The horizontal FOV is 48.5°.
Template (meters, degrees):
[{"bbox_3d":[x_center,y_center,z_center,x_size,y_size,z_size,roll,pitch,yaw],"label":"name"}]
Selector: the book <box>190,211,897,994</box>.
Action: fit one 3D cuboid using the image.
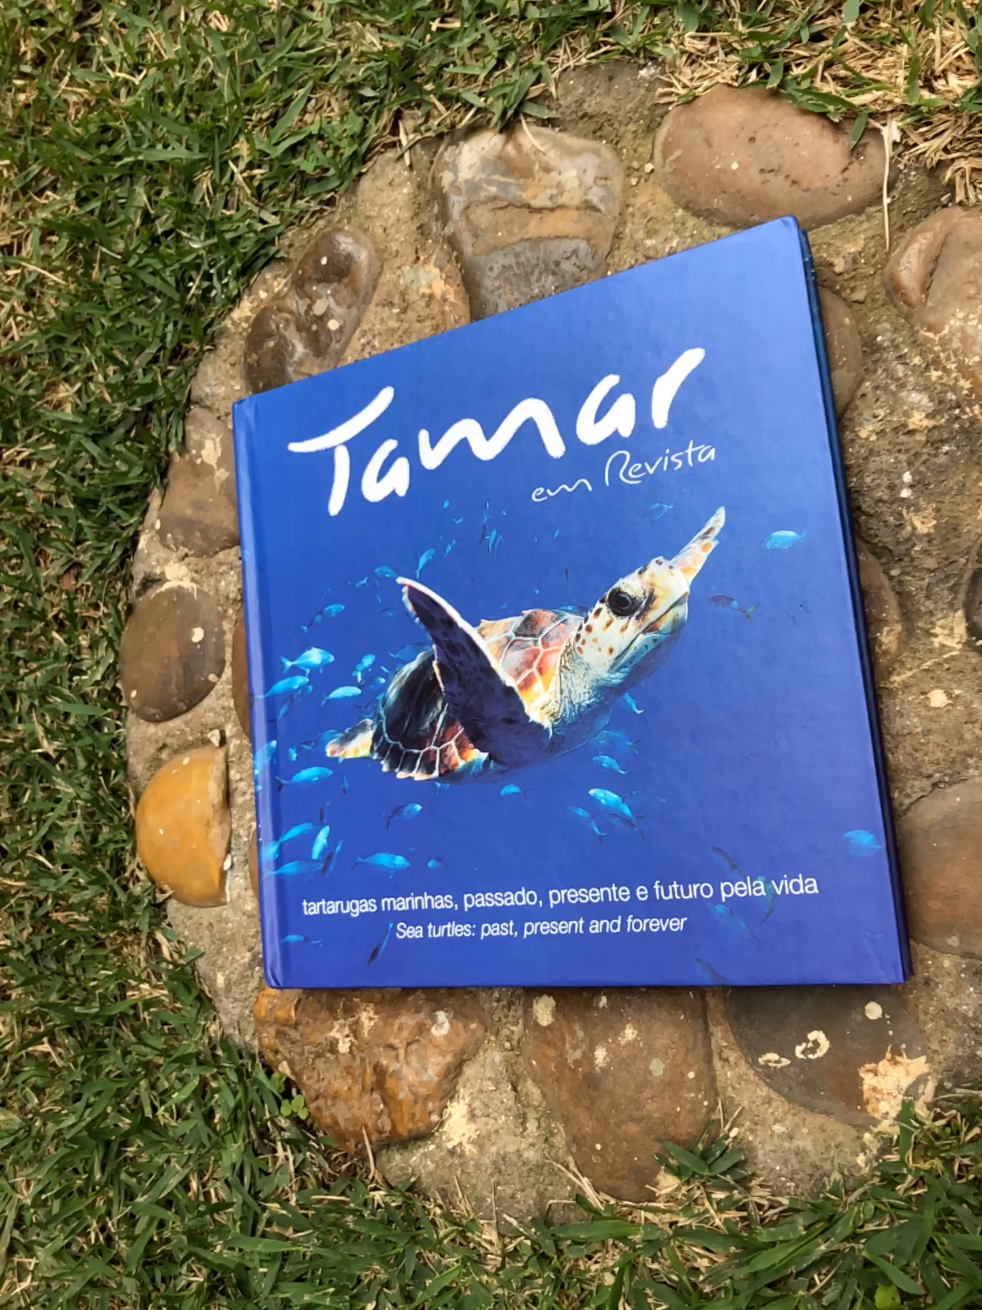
[{"bbox_3d":[-0.002,-0.002,0.280,0.179,0.020,0.166,-9,80,29],"label":"book"}]
